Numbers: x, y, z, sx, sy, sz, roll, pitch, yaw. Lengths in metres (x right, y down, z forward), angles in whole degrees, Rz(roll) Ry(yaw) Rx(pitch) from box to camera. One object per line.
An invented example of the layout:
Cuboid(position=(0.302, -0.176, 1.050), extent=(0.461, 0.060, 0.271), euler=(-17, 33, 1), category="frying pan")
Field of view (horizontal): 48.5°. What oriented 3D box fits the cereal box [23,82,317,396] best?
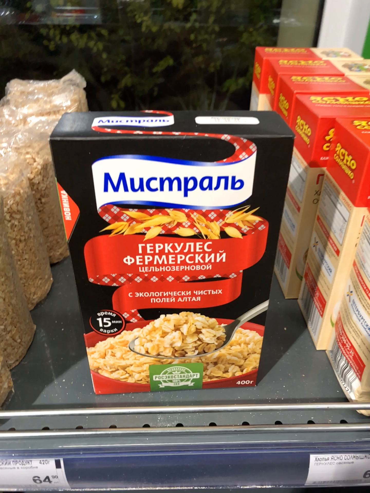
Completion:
Cuboid(position=(-0.008, 0.010, 0.279), extent=(0.140, 0.219, 0.050), euler=(-2, 36, -3), category="cereal box")
